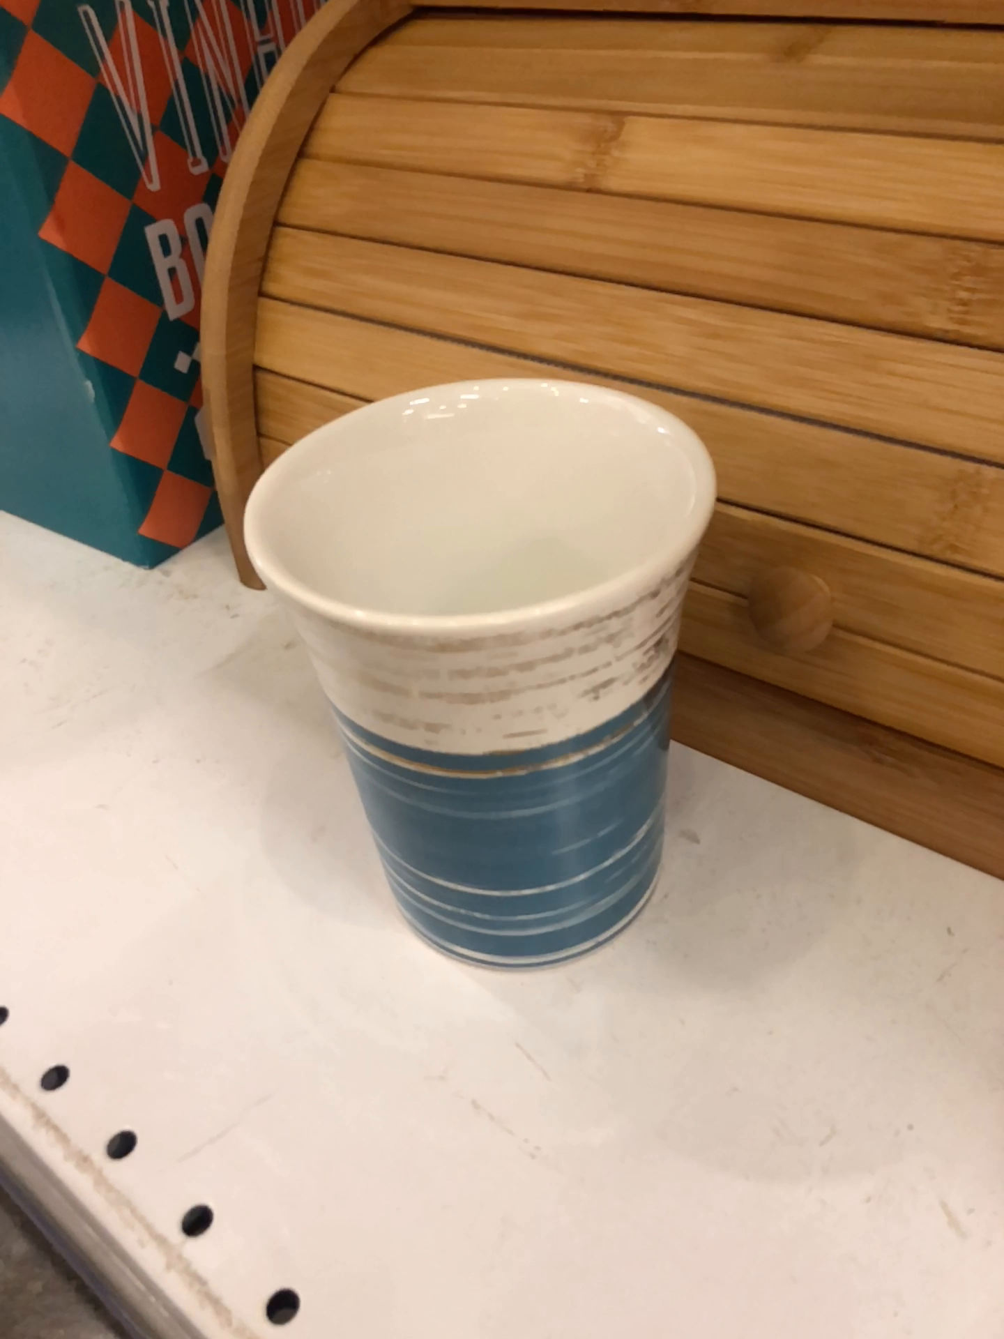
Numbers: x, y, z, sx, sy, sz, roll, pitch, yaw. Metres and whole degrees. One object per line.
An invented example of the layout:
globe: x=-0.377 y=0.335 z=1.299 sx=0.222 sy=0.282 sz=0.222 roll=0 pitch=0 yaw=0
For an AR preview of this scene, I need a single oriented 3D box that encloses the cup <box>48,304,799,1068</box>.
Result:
cup: x=-0.016 y=-0.007 z=0.240 sx=0.090 sy=0.089 sz=0.121 roll=-32 pitch=45 yaw=-27
